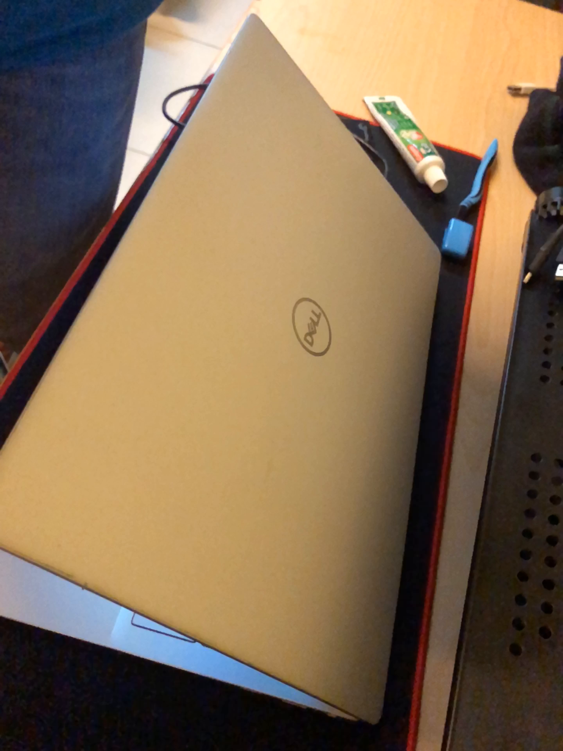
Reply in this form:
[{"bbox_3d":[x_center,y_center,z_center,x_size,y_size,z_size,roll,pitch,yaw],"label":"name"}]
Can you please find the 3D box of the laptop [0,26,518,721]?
[{"bbox_3d":[-0.006,-0.030,0.364,0.218,0.140,0.352,16,54,2],"label":"laptop"}]
